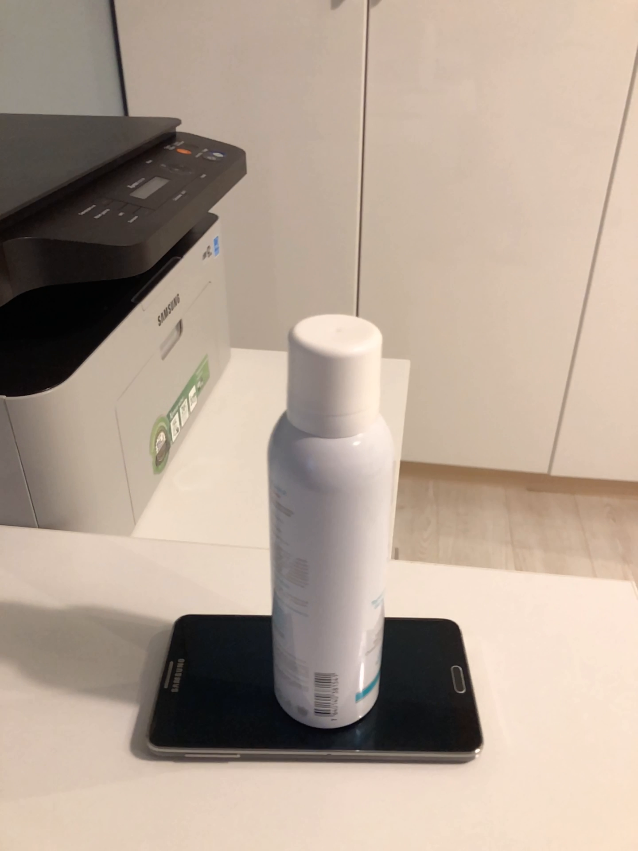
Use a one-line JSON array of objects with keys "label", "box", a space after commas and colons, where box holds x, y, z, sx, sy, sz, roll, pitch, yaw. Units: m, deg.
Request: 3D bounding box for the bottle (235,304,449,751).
[{"label": "bottle", "box": [0.005, 0.046, 0.286, 0.059, 0.175, 0.054, 0, 31, 0]}]
